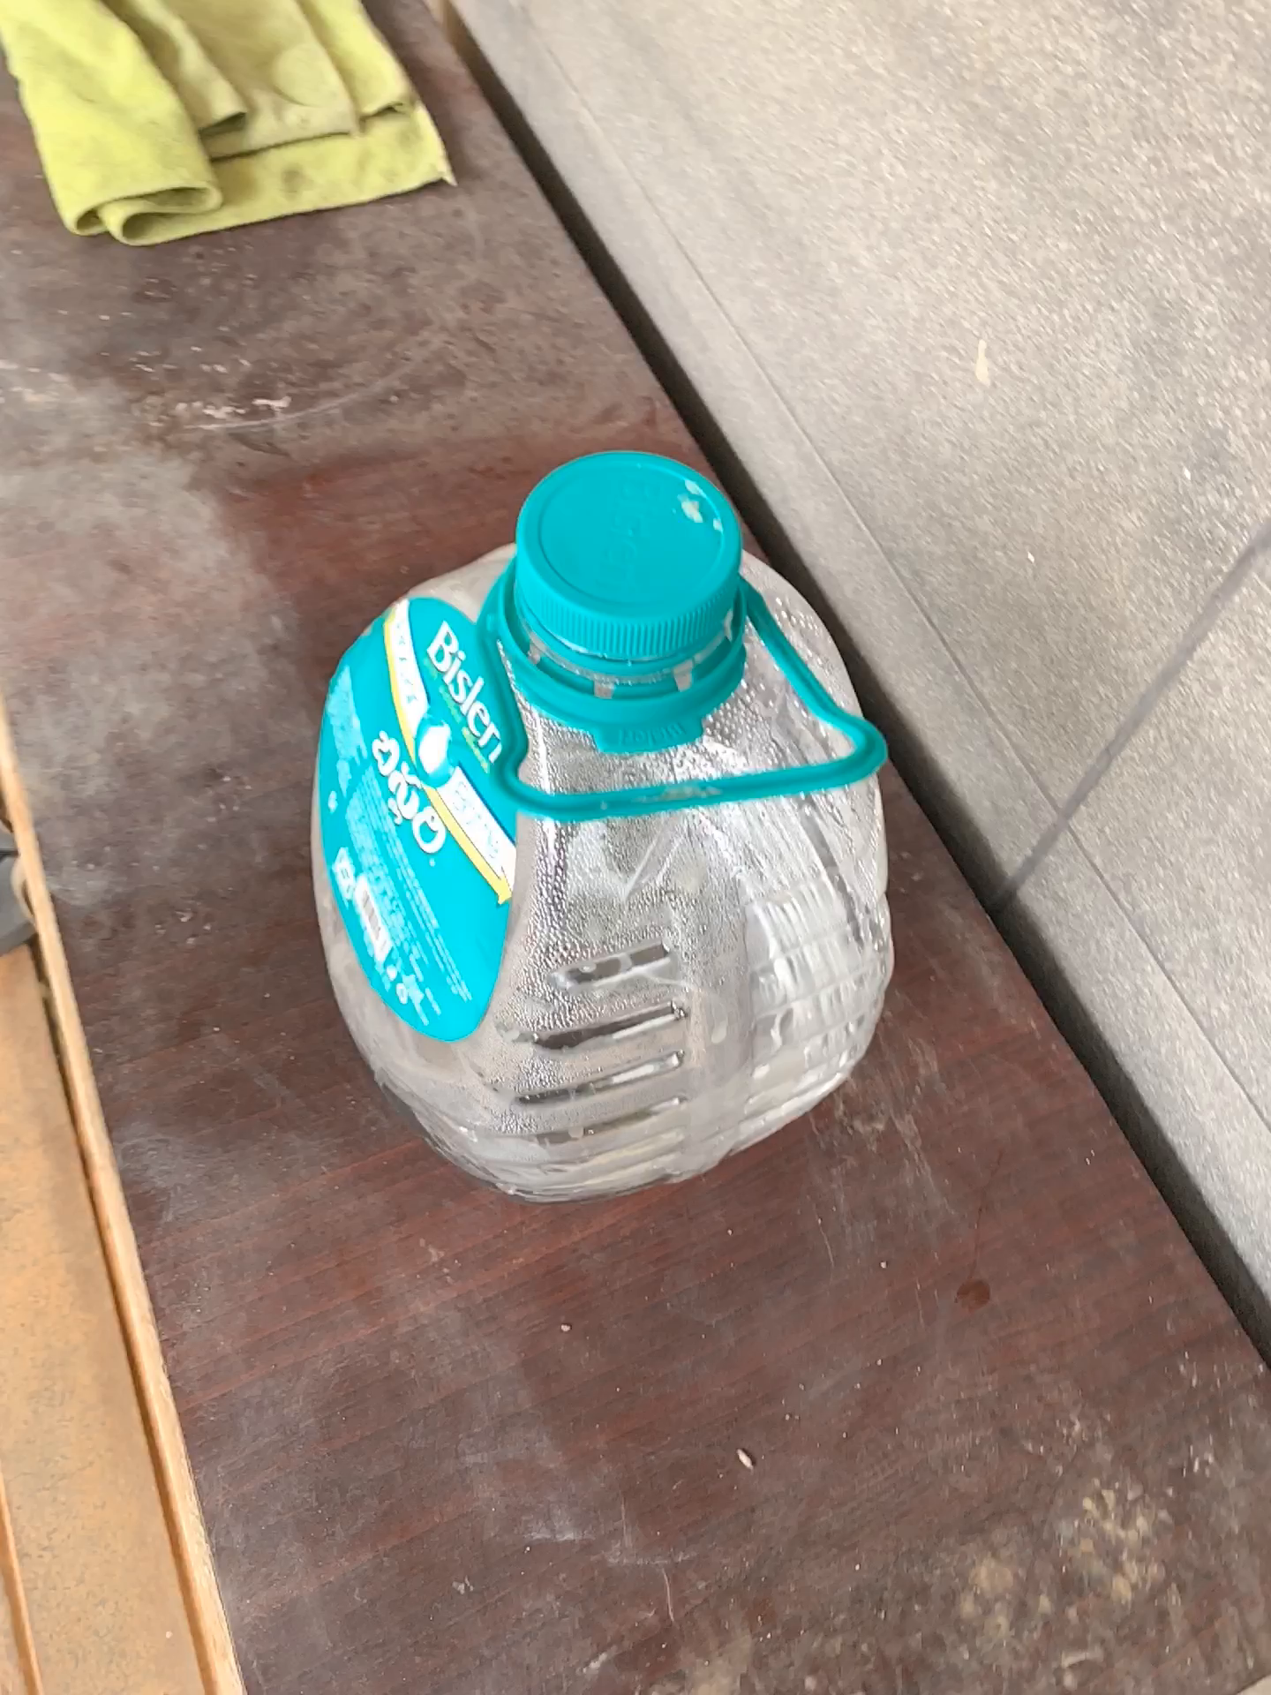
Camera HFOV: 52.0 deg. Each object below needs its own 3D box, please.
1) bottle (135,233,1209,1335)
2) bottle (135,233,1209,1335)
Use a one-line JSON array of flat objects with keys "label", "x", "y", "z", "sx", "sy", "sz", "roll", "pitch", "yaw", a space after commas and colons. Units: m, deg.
[{"label": "bottle", "x": -0.012, "y": -0.009, "z": 0.385, "sx": 0.180, "sy": 0.220, "sz": 0.200, "roll": -16, "pitch": 62, "yaw": -16}, {"label": "bottle", "x": -0.012, "y": -0.009, "z": 0.385, "sx": 0.180, "sy": 0.220, "sz": 0.200, "roll": -16, "pitch": 62, "yaw": -16}]
